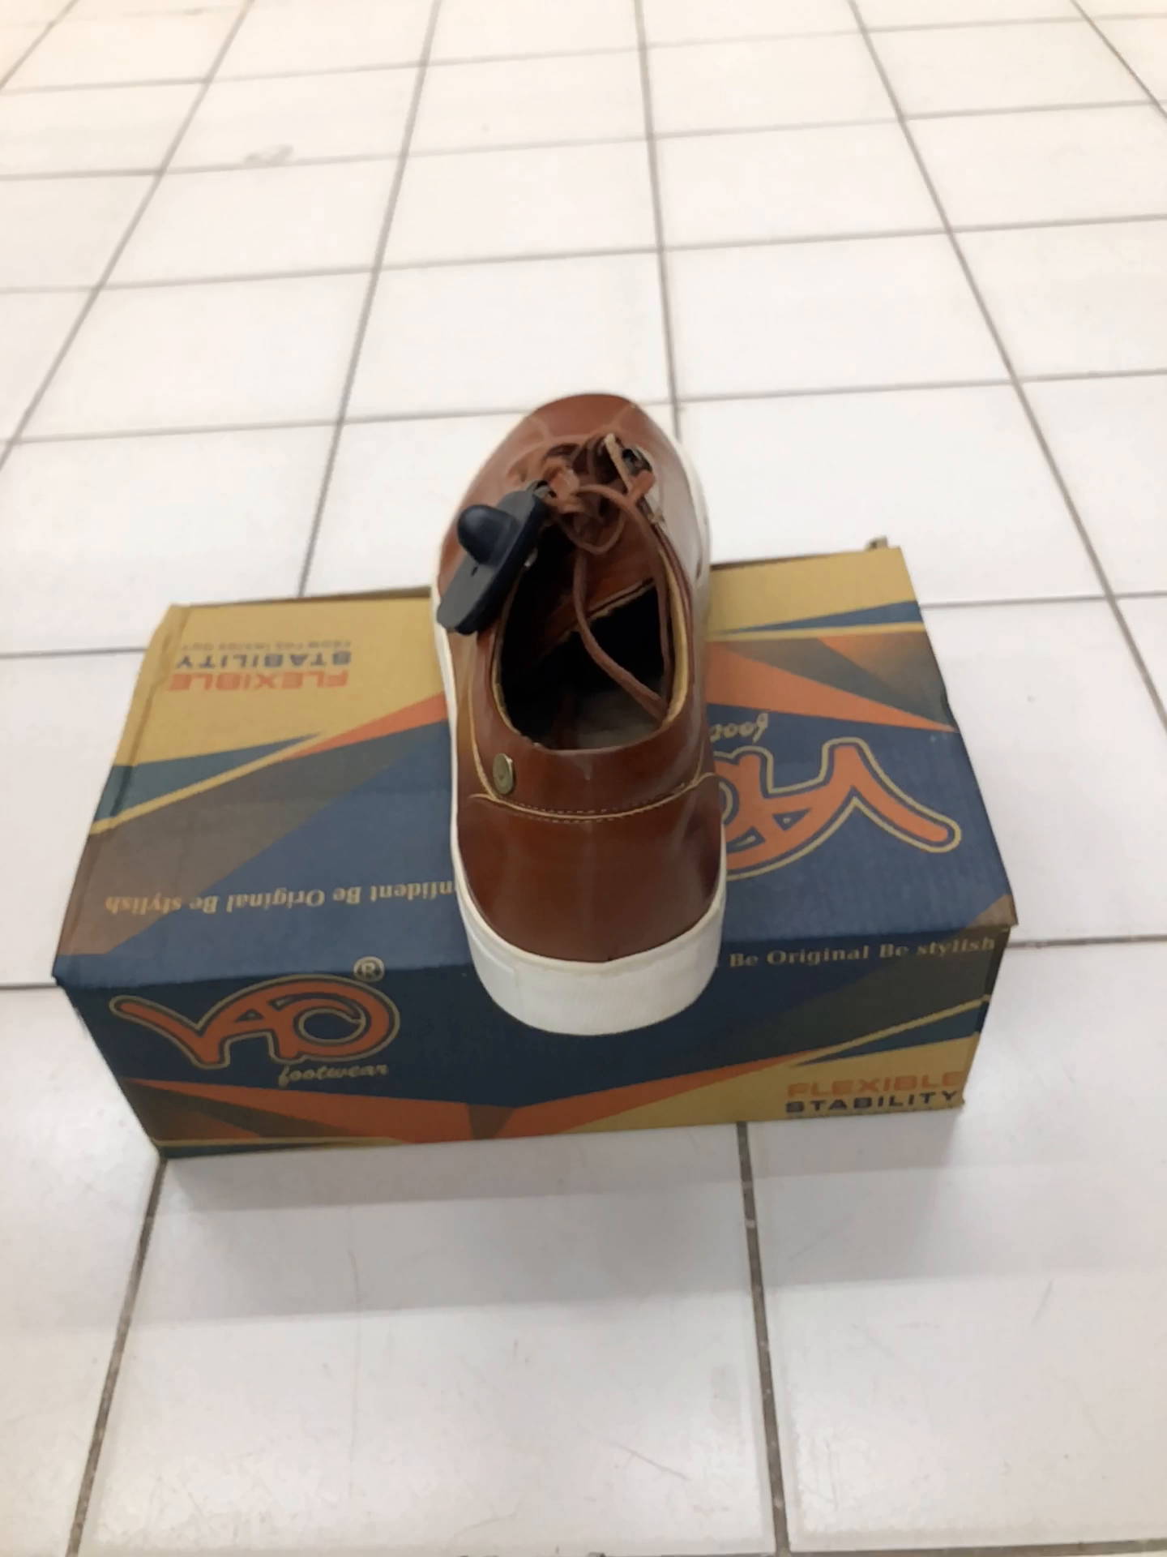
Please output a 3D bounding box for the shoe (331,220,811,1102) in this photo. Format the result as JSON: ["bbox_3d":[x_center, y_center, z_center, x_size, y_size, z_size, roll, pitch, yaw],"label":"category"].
[{"bbox_3d":[-0.004,-0.056,0.407,0.100,0.109,0.282,-3,47,1],"label":"shoe"}]
